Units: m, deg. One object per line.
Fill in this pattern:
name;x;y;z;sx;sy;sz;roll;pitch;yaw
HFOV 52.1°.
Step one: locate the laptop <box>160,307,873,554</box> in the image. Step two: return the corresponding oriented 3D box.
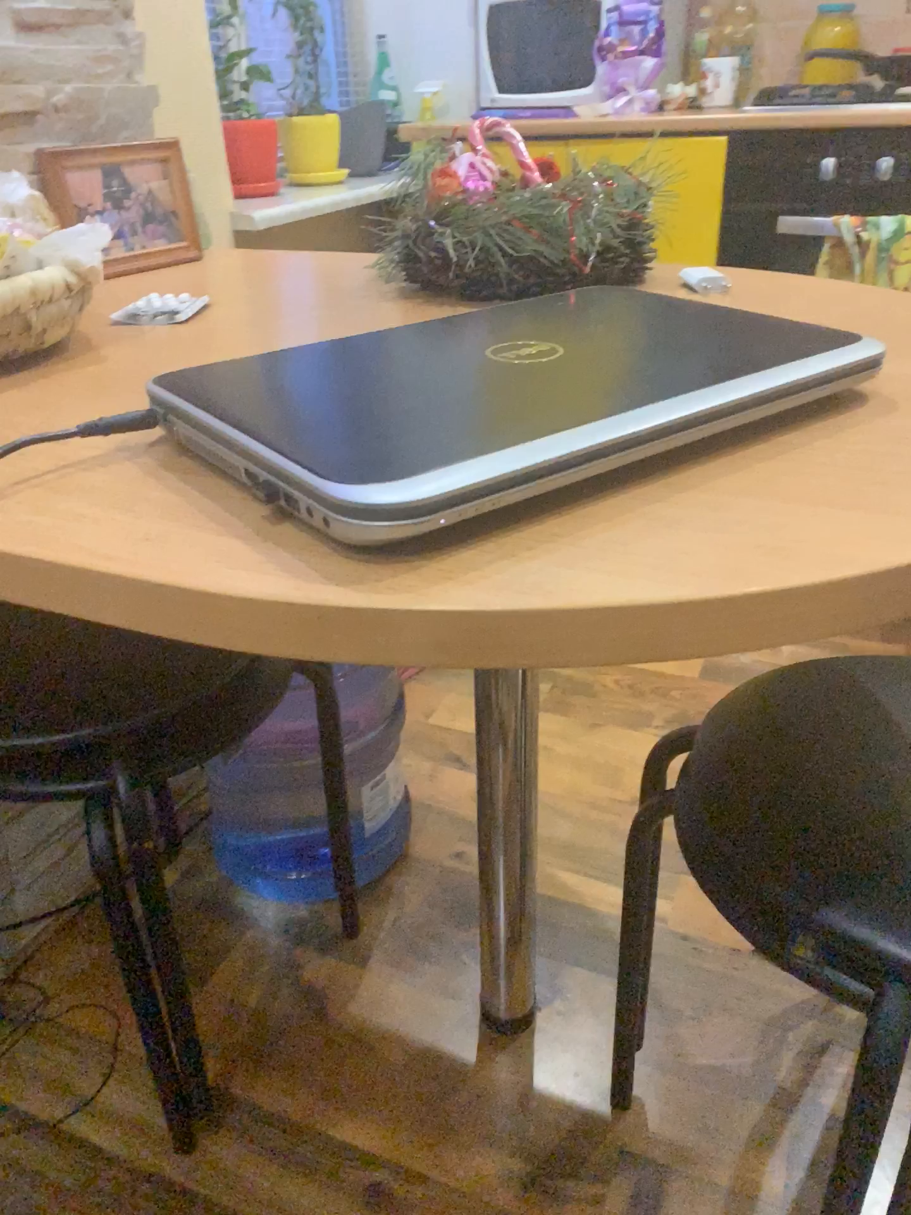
laptop;0.038;-0.125;0.543;0.349;0.004;0.226;-21;37;-29
